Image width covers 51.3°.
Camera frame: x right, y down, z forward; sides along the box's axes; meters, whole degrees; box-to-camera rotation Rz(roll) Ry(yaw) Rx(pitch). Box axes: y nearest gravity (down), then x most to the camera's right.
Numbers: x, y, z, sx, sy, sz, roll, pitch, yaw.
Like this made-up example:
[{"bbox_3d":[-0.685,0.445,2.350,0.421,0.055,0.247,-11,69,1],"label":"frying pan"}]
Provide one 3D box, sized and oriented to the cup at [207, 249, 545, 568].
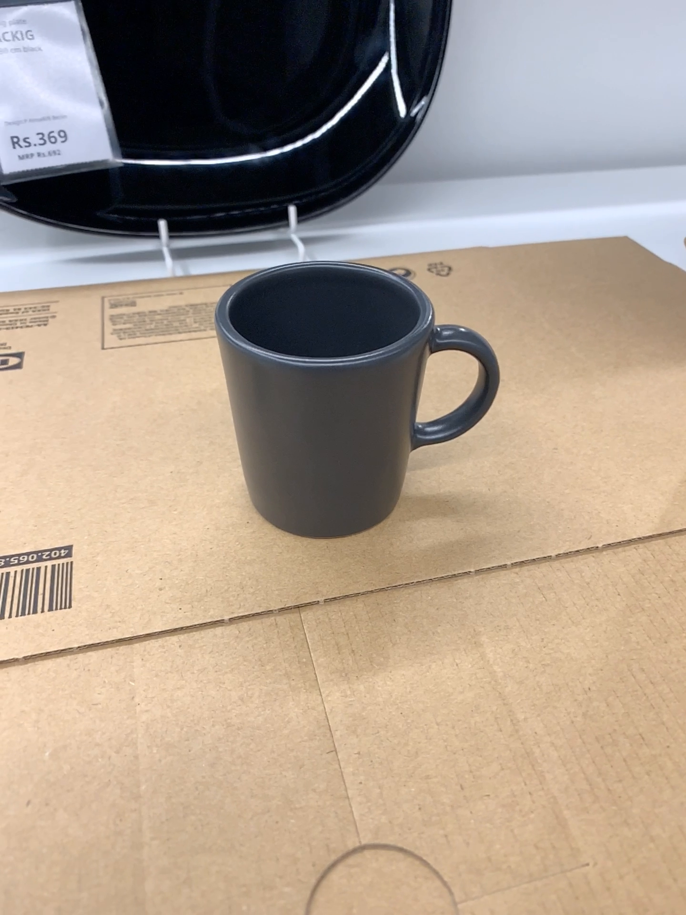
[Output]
[{"bbox_3d":[0.005,-0.016,0.212,0.080,0.070,0.060,-3,36,-5],"label":"cup"}]
